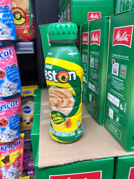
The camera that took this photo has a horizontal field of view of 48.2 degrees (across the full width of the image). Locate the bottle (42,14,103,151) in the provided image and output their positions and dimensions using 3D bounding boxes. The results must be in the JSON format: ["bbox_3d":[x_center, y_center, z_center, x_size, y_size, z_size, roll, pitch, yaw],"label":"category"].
[{"bbox_3d":[0.009,-0.010,0.231,0.060,0.179,0.060,-1,17,0],"label":"bottle"}]
